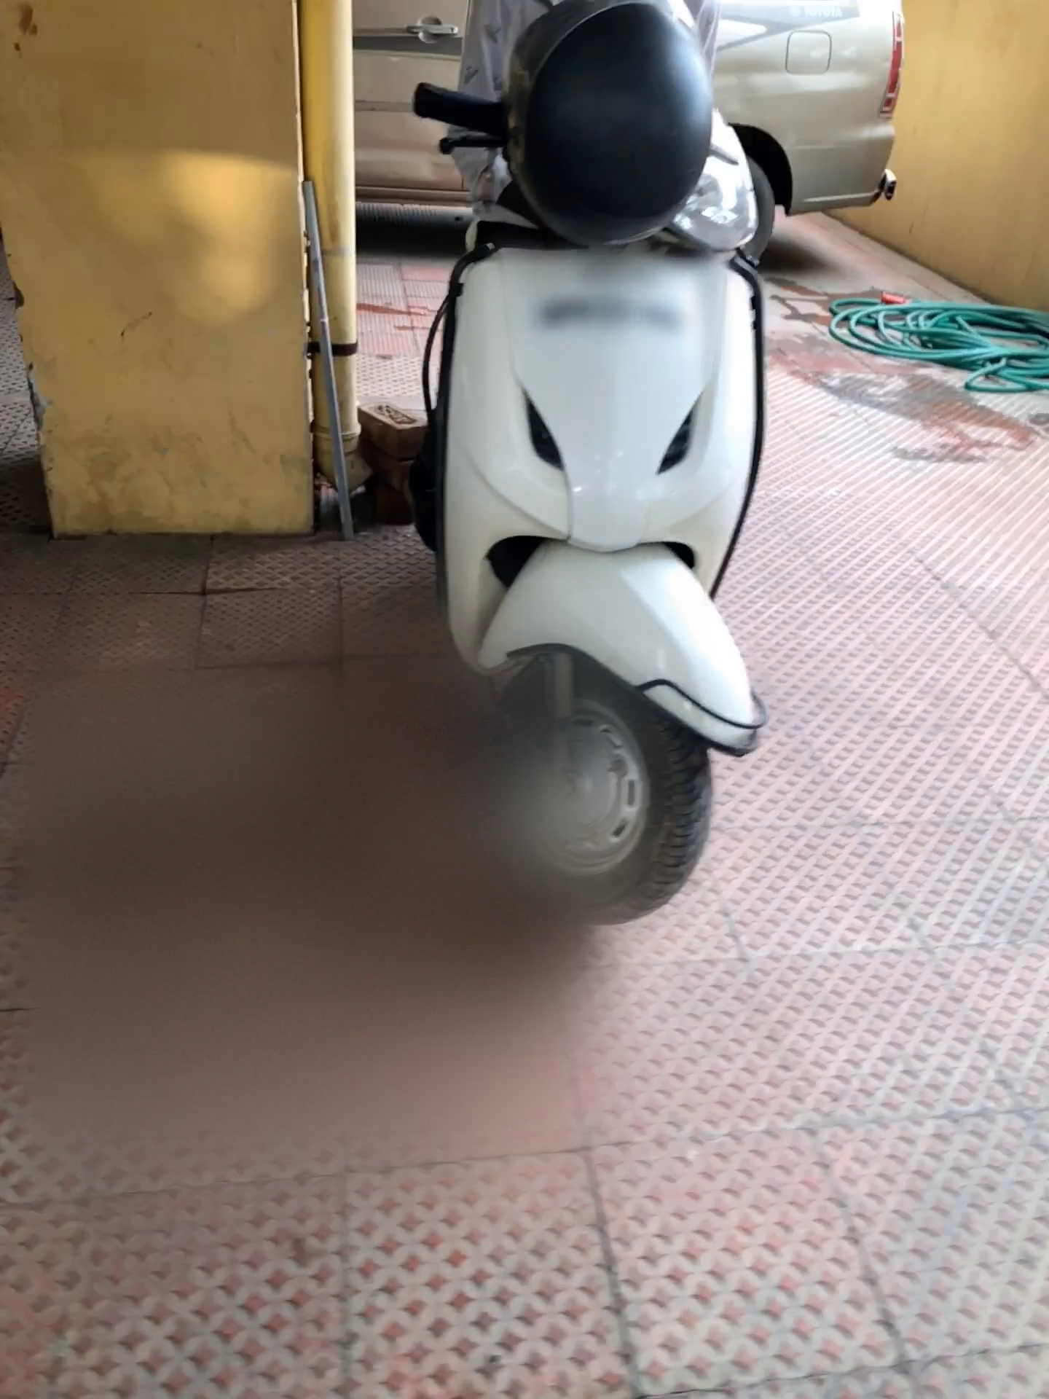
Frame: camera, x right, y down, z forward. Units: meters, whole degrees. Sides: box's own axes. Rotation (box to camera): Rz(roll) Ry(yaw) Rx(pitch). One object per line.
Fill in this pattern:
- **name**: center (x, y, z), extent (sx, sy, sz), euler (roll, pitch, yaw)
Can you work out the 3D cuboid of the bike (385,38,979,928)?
- **bike**: center (0.092, -0.508, 2.189), extent (0.657, 1.107, 1.397), euler (-1, 34, -9)
